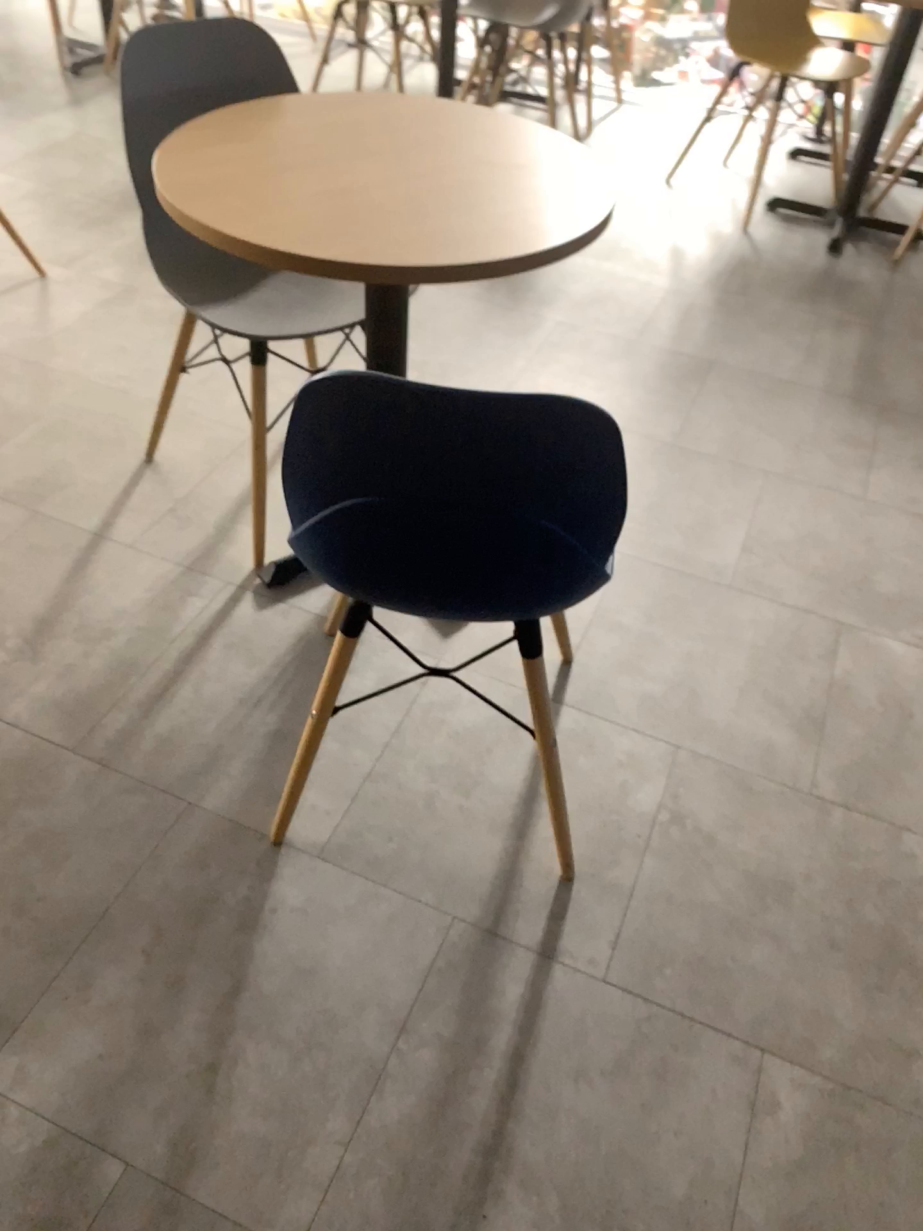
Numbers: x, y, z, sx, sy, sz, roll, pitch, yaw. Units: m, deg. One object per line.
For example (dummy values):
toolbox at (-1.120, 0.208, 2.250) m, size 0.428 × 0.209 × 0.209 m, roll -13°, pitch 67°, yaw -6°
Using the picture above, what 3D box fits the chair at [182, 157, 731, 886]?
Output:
chair at (-0.011, -0.093, 1.300) m, size 0.490 × 0.809 × 0.501 m, roll 6°, pitch 44°, yaw 1°
